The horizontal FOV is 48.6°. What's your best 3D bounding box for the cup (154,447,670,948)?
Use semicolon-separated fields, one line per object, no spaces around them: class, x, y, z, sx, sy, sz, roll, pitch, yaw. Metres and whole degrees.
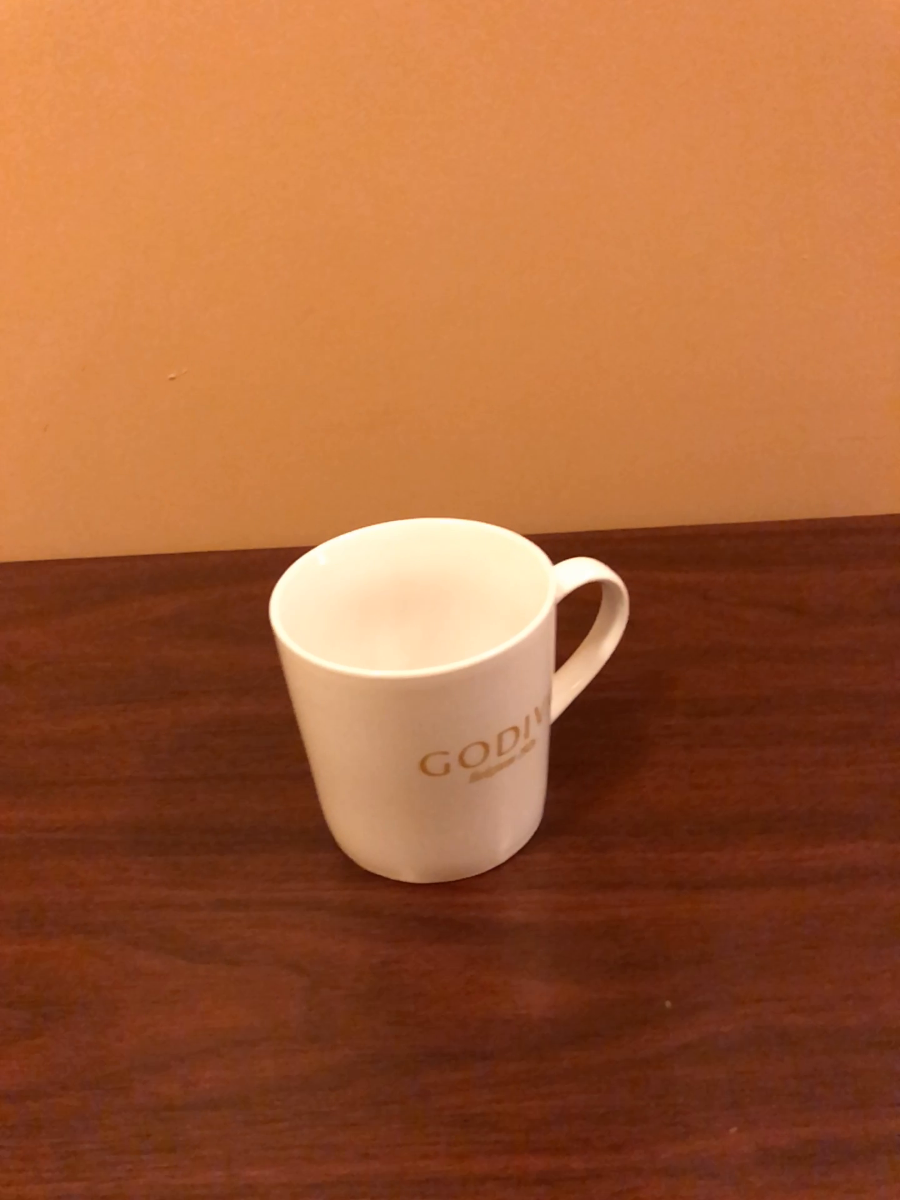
cup;-0.010;0.025;0.384;0.150;0.099;0.110;-27;38;-31
